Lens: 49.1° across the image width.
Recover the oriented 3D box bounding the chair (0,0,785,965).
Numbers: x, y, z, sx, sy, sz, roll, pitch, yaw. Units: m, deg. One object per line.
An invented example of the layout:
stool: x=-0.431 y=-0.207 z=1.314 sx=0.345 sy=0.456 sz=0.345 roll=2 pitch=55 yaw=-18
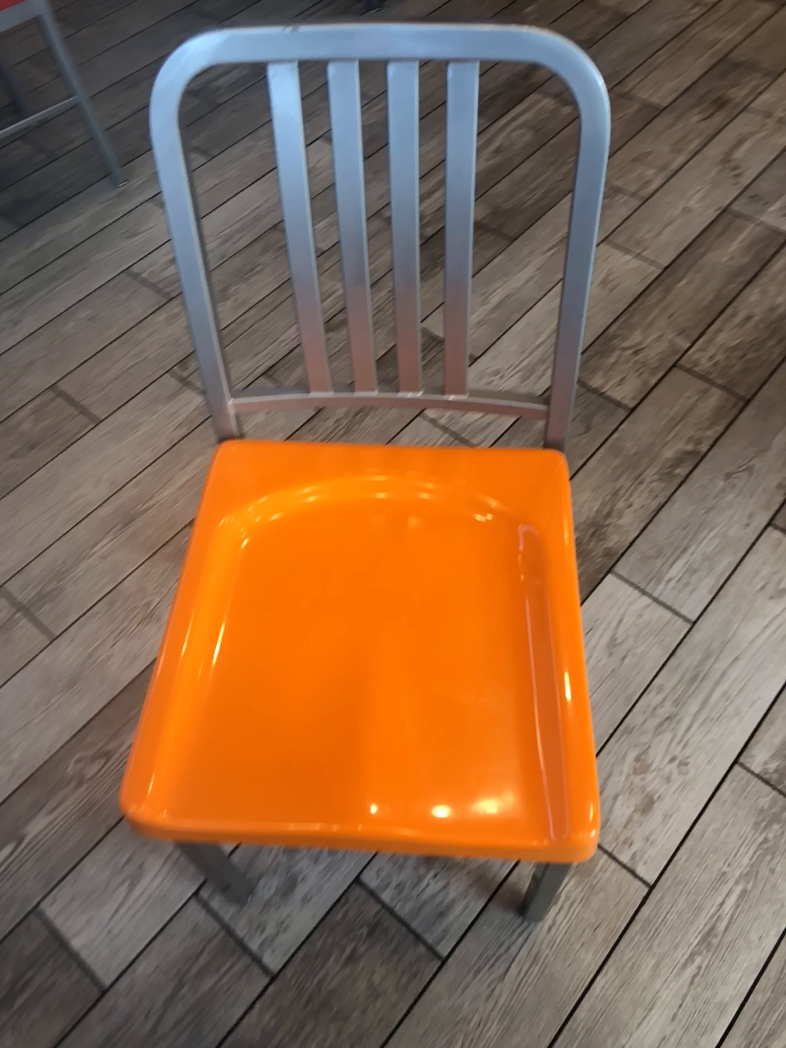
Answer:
chair: x=-0.013 y=0.053 z=0.799 sx=0.470 sy=0.818 sz=0.511 roll=2 pitch=56 yaw=5
